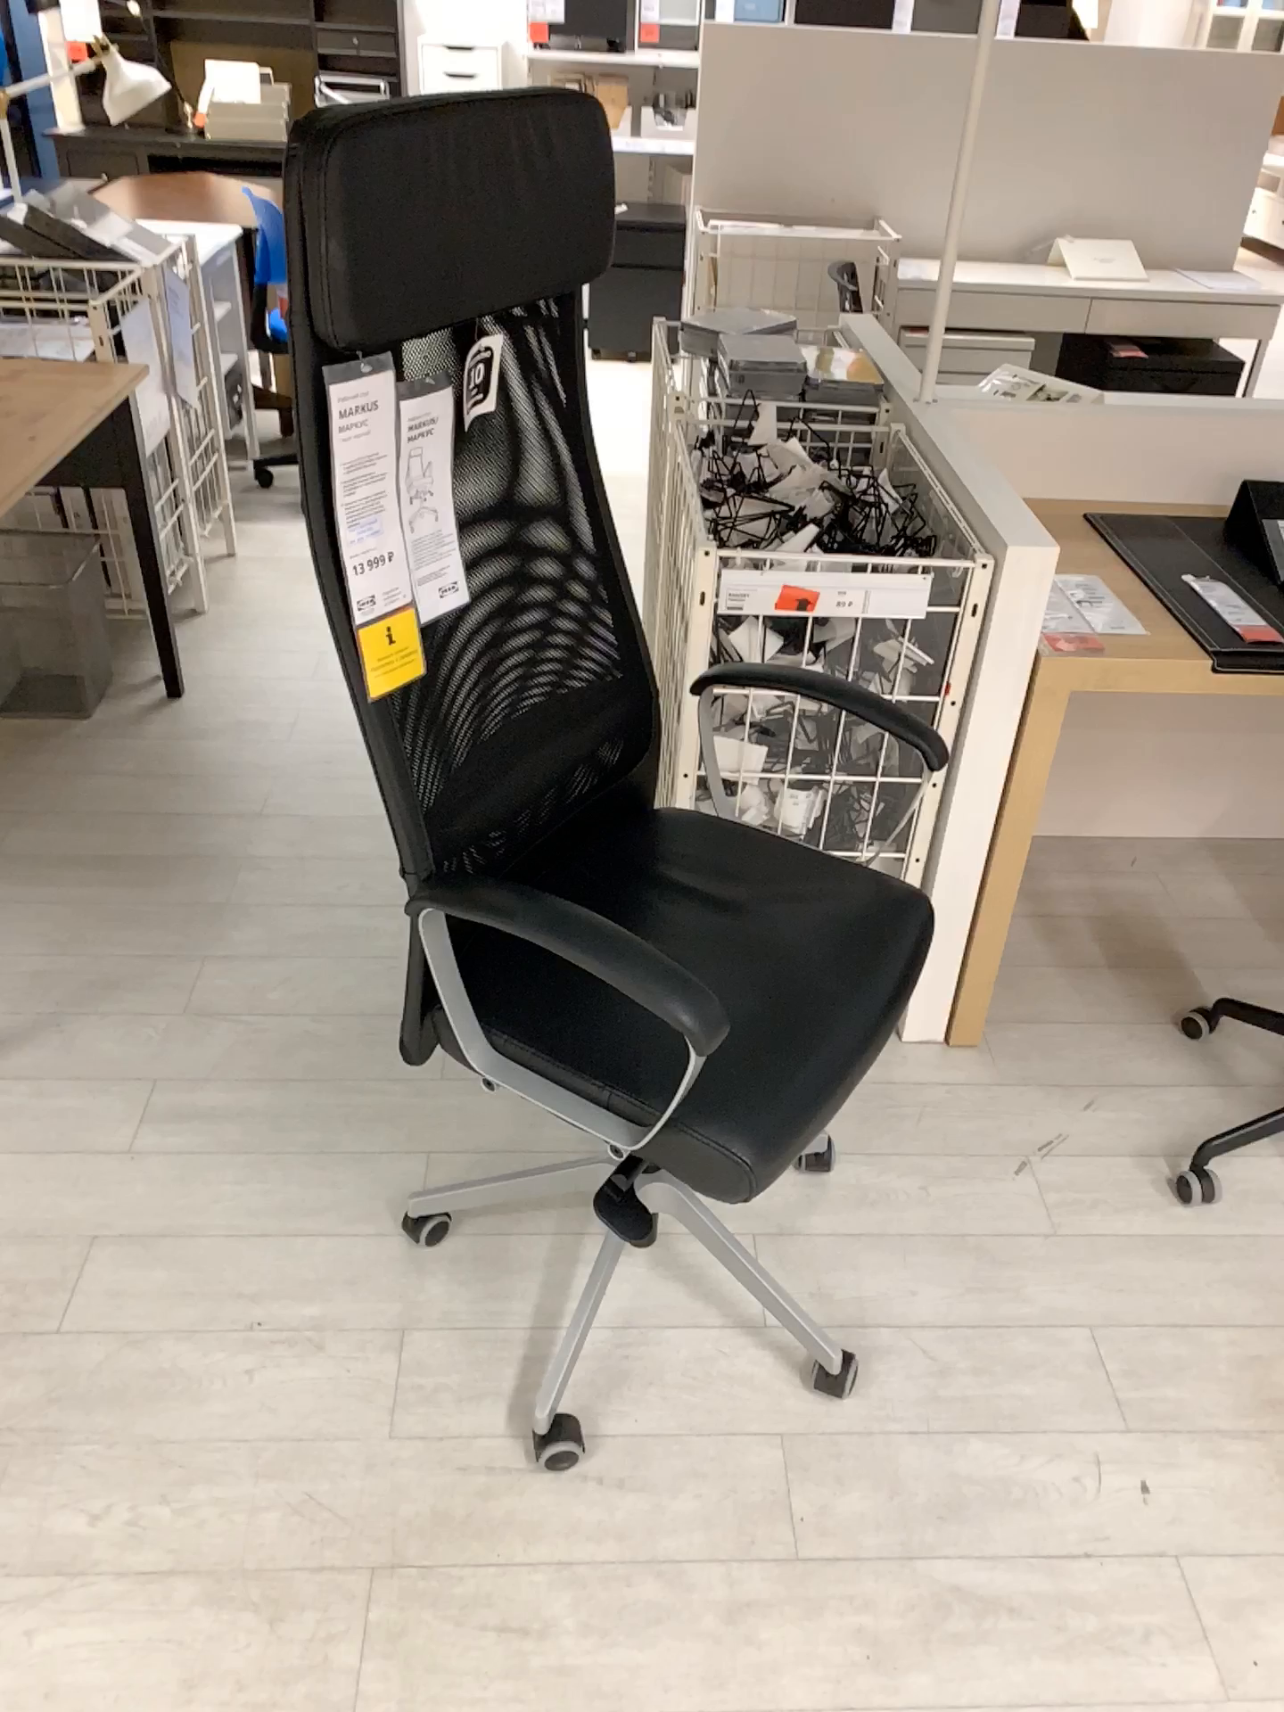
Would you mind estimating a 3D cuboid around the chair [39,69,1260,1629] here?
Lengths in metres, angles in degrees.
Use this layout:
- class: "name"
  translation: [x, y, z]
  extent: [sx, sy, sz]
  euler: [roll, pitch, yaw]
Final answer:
- class: "chair"
  translation: [0.041, -0.035, 1.363]
  extent: [0.679, 1.293, 0.725]
  euler: [19, 36, 23]
